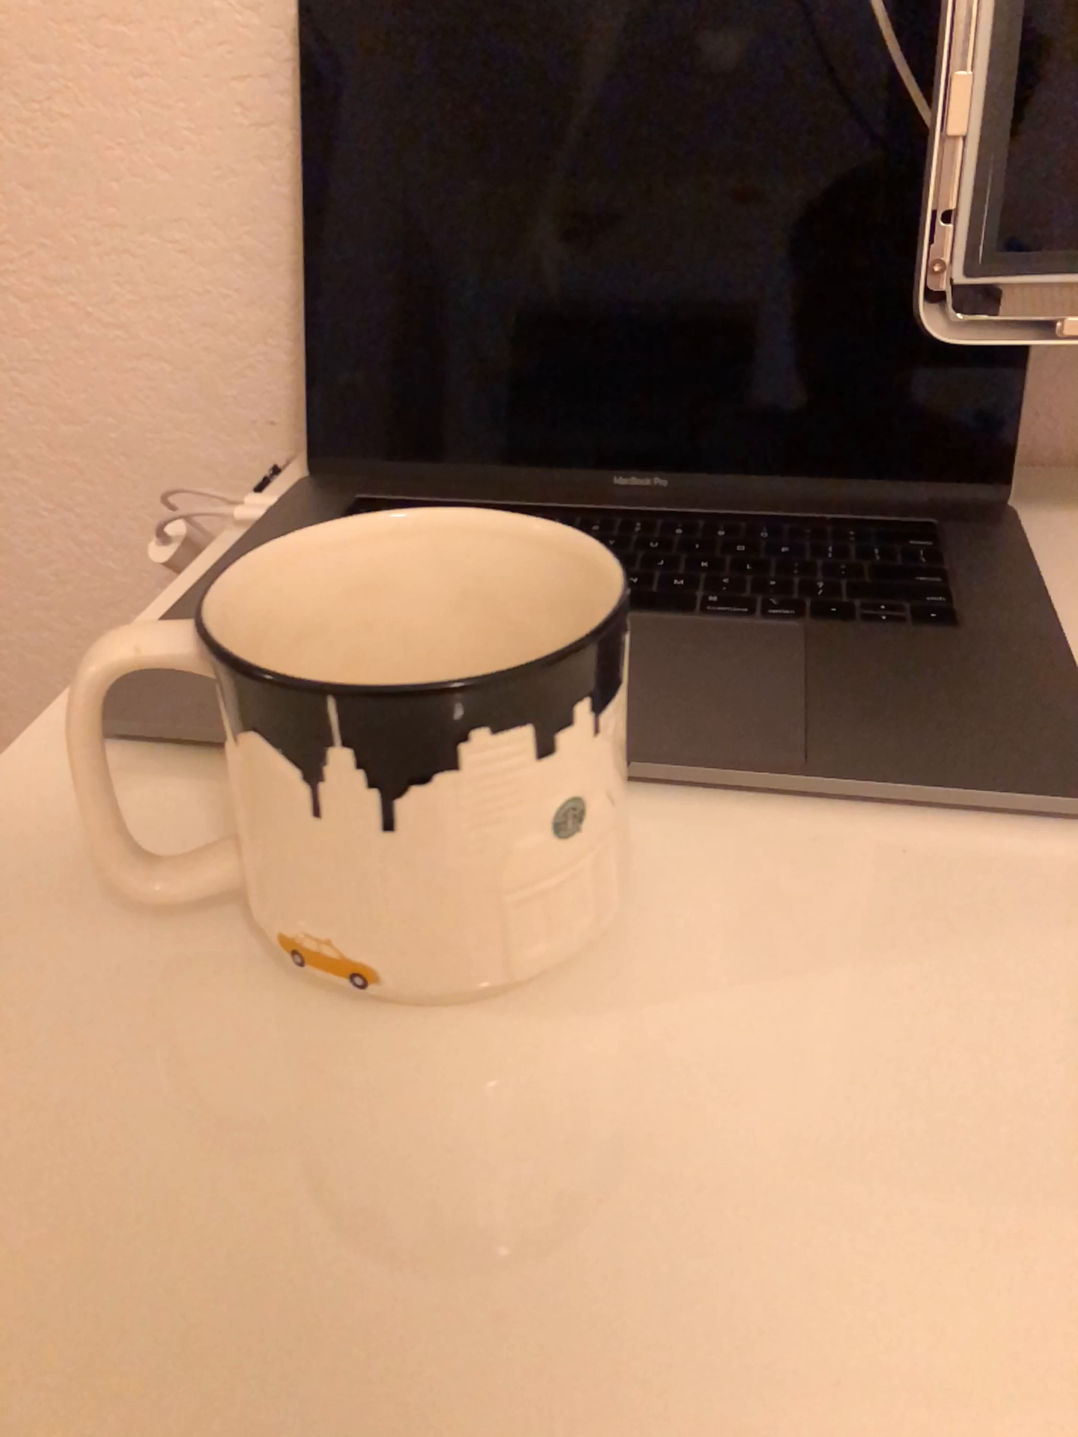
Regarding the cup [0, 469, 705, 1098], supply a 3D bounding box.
[{"bbox_3d":[-0.047,0.009,0.310,0.150,0.099,0.111,-8,32,-7],"label":"cup"}]
